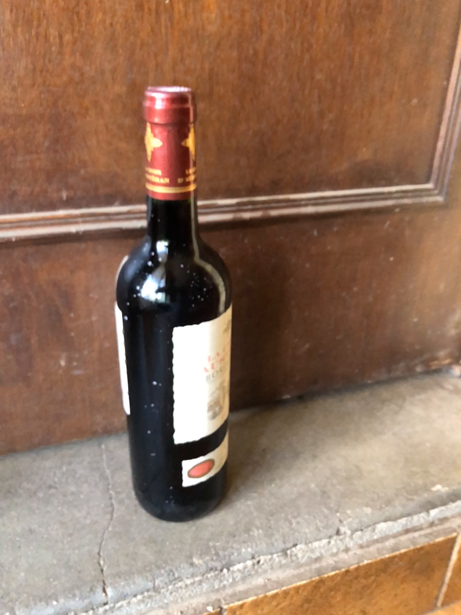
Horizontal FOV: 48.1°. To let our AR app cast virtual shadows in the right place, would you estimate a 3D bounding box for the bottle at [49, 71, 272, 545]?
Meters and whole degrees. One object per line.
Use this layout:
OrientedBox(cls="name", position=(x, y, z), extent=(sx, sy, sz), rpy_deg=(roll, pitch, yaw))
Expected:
OrientedBox(cls="bottle", position=(-0.036, 0.007, 0.327), extent=(0.080, 0.278, 0.081), rpy_deg=(1, 27, -1))
